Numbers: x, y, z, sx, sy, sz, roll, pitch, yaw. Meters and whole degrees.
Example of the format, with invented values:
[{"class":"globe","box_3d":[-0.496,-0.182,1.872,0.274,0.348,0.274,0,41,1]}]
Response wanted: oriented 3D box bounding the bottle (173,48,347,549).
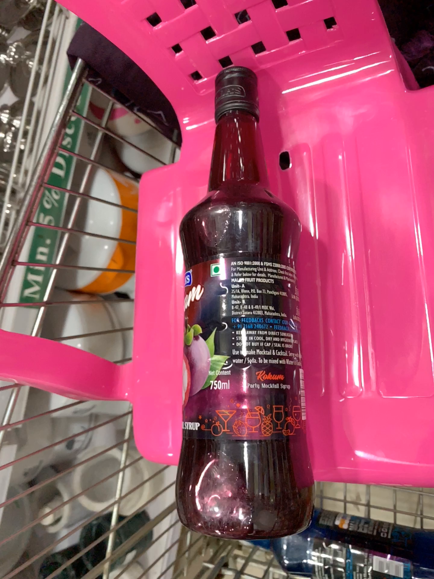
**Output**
[{"class":"bottle","box_3d":[0.018,0.000,0.271,0.080,0.080,0.260,-1,80,1]}]
